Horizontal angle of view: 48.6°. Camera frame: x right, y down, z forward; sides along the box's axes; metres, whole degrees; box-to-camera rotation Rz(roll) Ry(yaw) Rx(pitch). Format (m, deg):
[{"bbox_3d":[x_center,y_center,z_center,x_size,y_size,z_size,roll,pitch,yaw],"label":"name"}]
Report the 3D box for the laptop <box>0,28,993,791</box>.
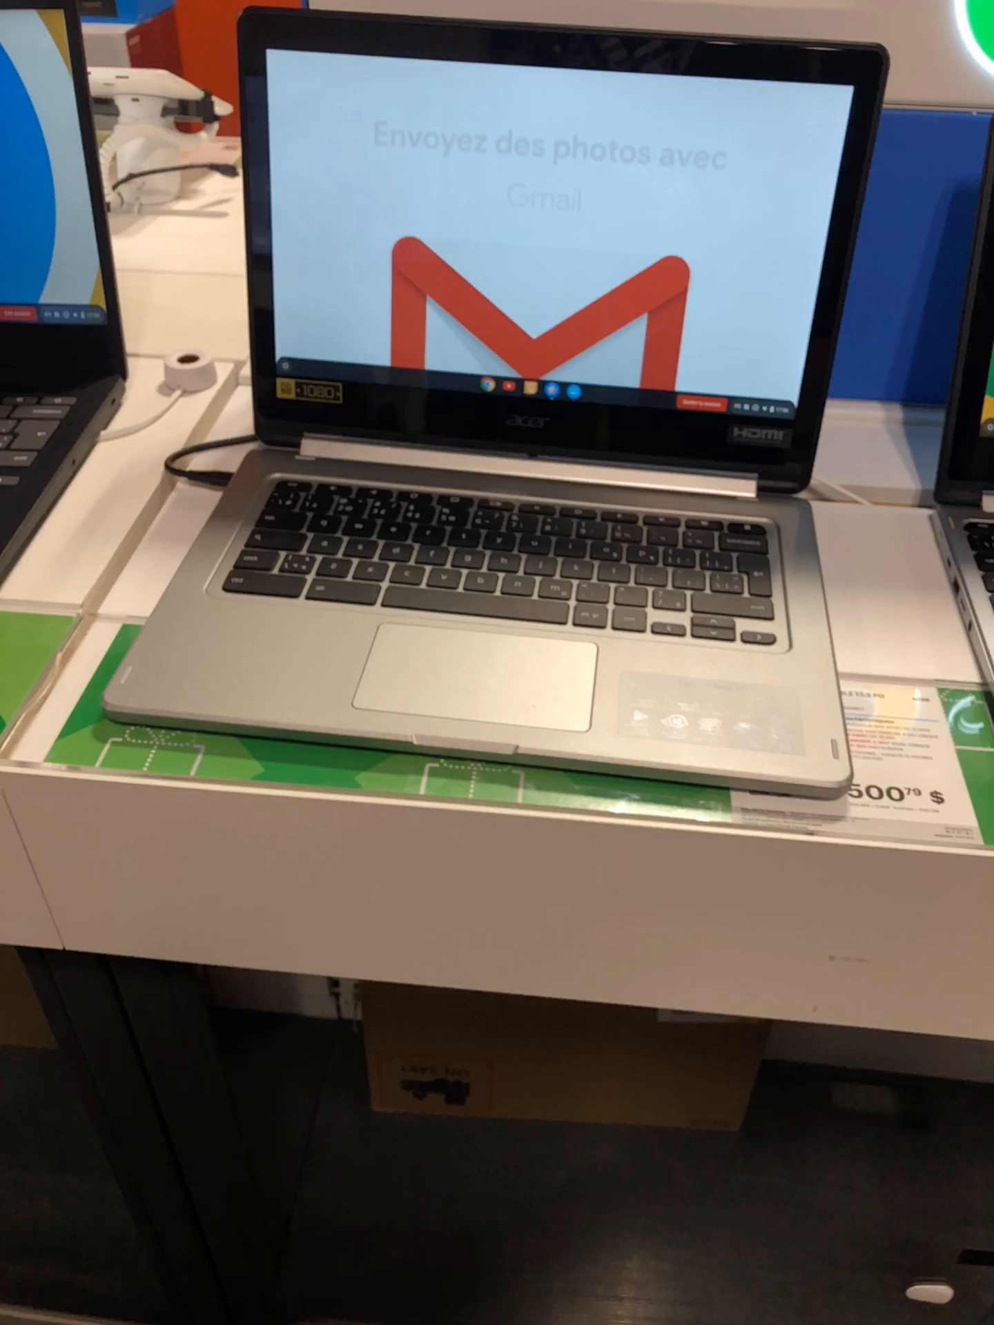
[{"bbox_3d":[0.002,-0.125,0.486,0.317,0.226,0.240,6,39,5],"label":"laptop"}]
